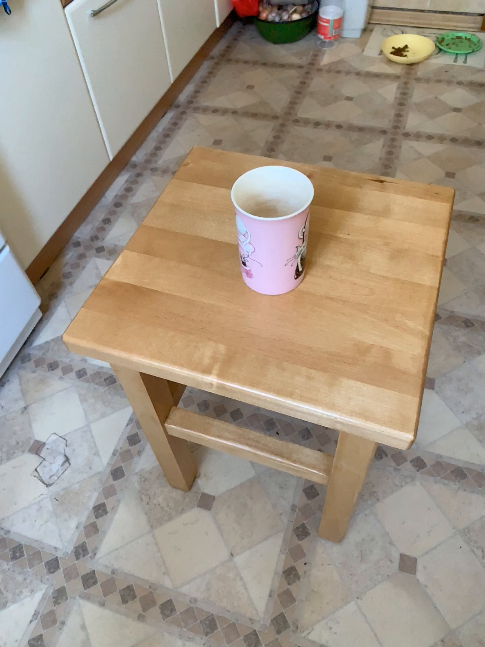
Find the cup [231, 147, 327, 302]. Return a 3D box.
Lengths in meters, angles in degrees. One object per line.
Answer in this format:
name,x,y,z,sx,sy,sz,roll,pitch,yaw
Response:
cup,0.035,-0.096,0.487,0.080,0.099,0.111,-1,52,4
